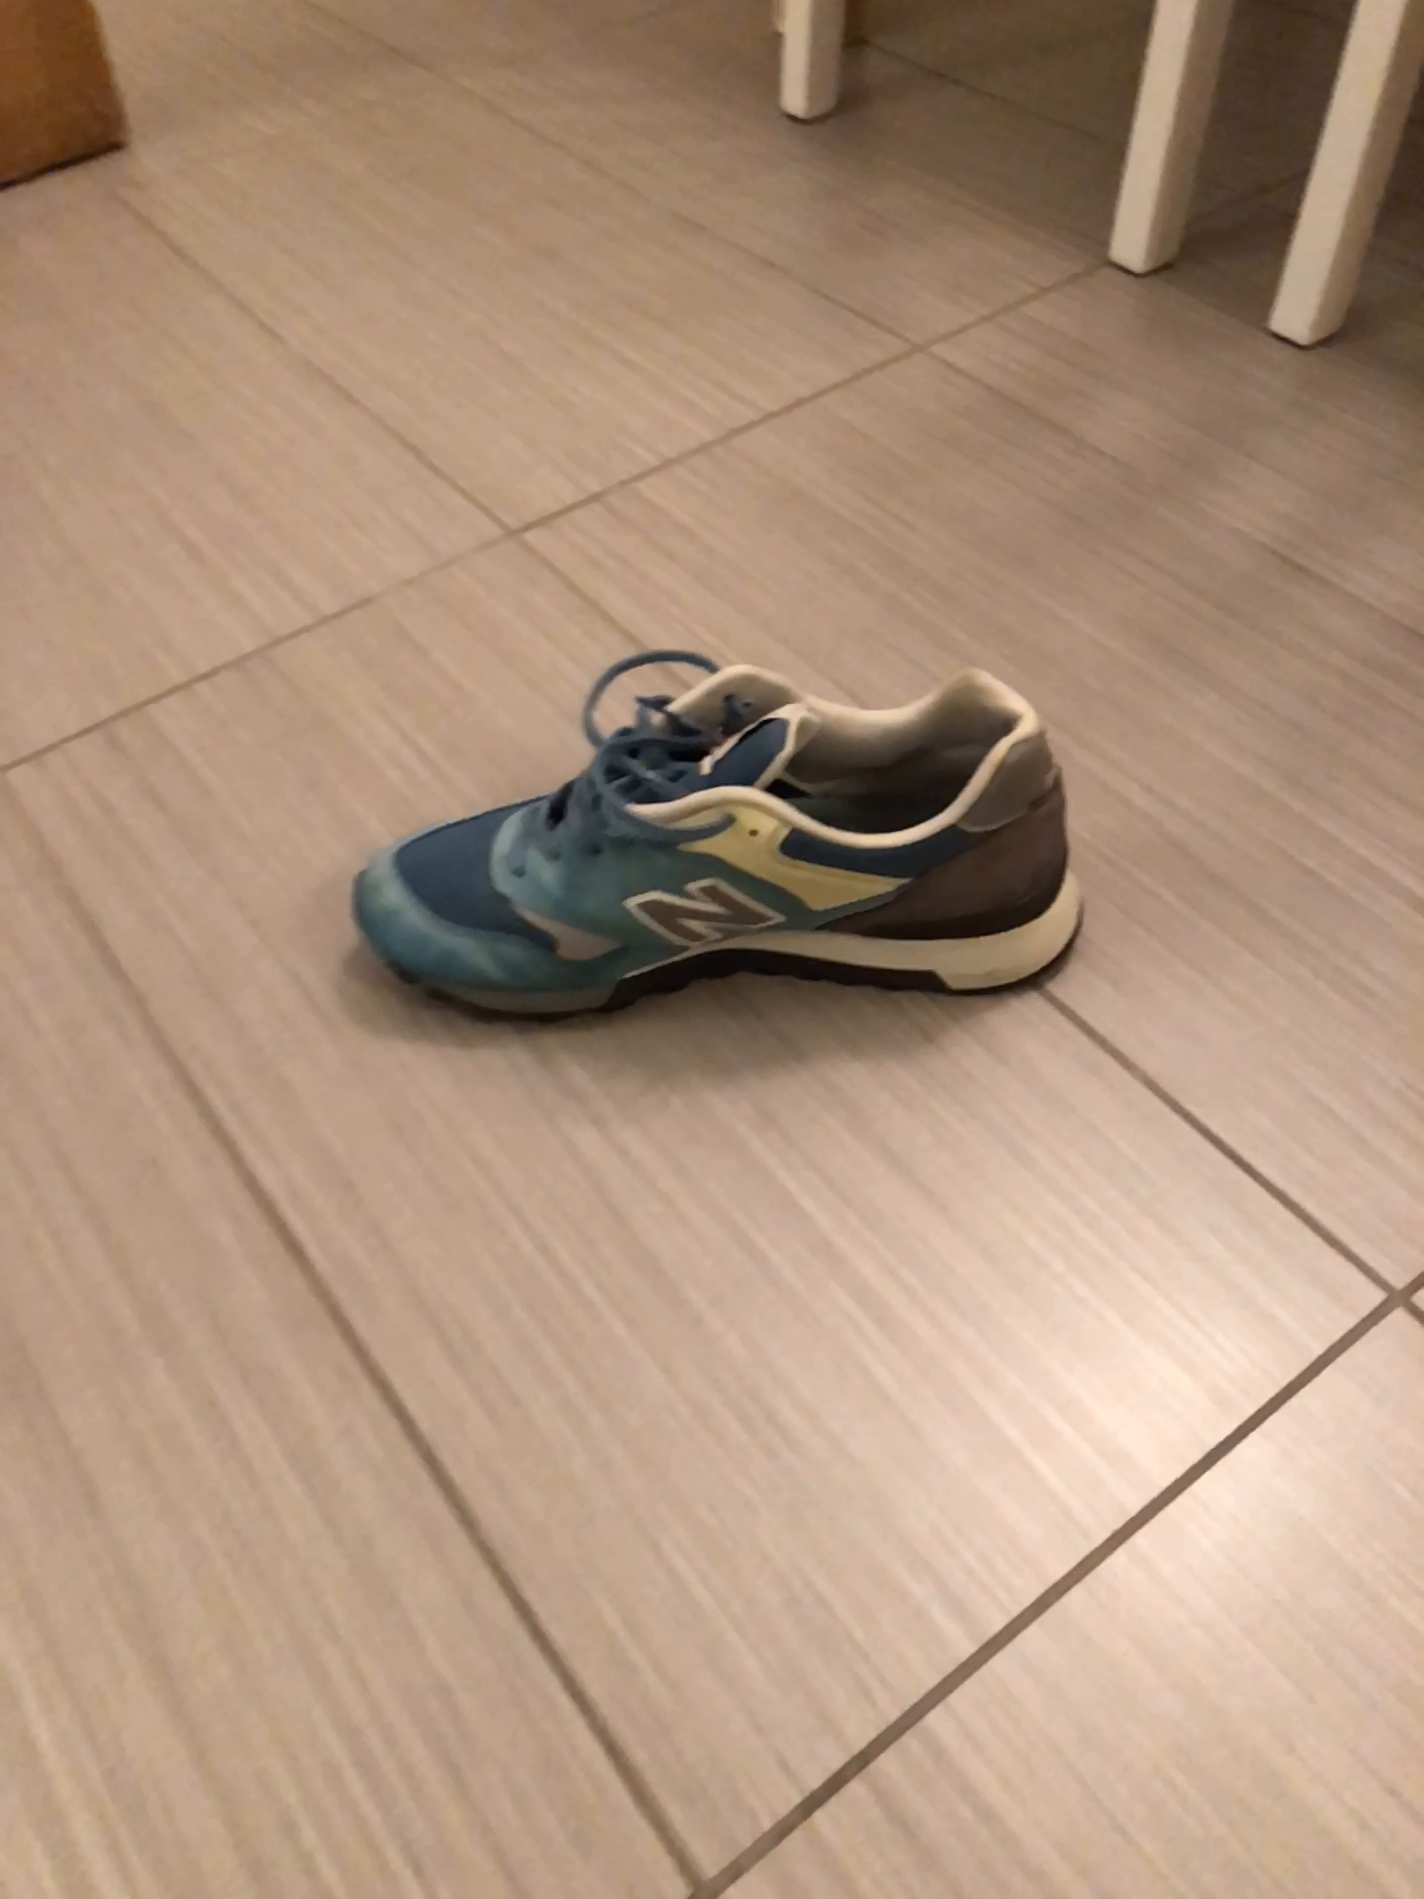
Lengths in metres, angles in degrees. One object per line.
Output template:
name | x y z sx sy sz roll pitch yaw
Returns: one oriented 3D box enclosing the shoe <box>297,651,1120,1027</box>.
shoe | 0.000 -0.046 0.638 0.300 0.070 0.131 -2 48 3
